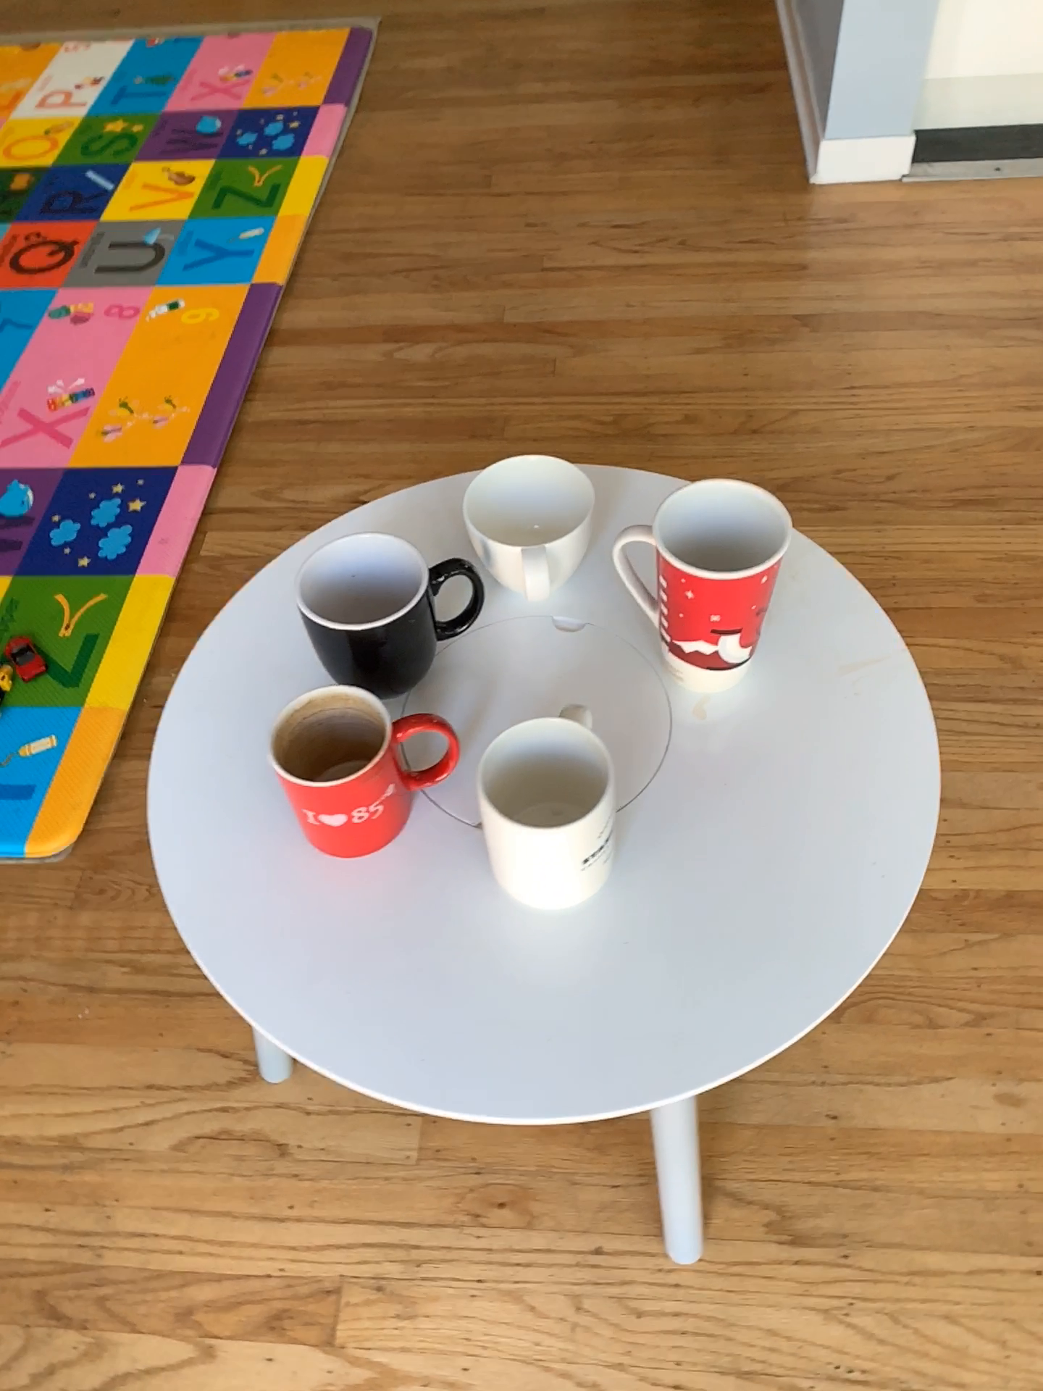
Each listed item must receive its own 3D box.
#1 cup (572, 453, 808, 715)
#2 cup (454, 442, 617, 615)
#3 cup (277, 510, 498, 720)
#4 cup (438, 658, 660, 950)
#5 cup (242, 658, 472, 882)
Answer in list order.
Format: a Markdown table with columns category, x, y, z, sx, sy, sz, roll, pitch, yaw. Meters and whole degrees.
| category | x | y | z | sx | sy | sz | roll | pitch | yaw |
| --- | --- | --- | --- | --- | --- | --- | --- | --- | --- |
| cup | 0.117 | -0.079 | 0.762 | 0.130 | 0.120 | 0.100 | 19 | 57 | 18 |
| cup | 0.009 | -0.124 | 0.781 | 0.100 | 0.040 | 0.120 | -9 | 53 | -2 |
| cup | -0.094 | -0.058 | 0.762 | 0.130 | 0.080 | 0.090 | -15 | 54 | -7 |
| cup | 0.022 | 0.067 | 0.672 | 0.090 | 0.100 | 0.130 | 16 | 56 | 16 |
| cup | -0.105 | 0.049 | 0.693 | 0.120 | 0.090 | 0.080 | -15 | 54 | -7 |
